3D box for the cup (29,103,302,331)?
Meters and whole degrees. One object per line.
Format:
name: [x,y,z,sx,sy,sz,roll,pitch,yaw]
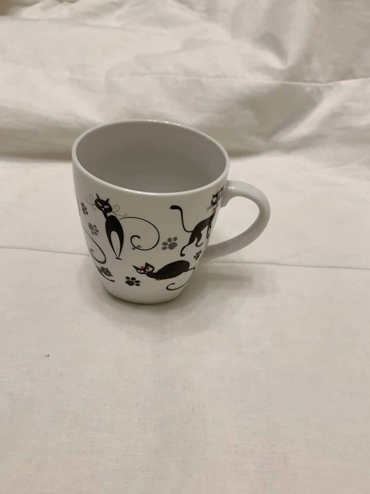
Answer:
cup: [-0.005,-0.020,0.219,0.118,0.077,0.081,10,42,5]
